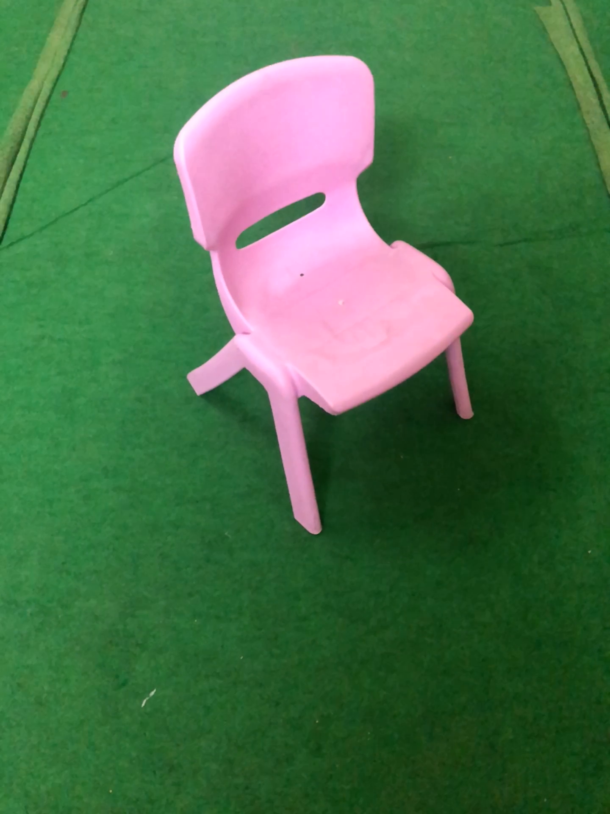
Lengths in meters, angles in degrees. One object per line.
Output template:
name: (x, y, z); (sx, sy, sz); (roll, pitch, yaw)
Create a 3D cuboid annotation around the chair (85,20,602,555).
chair: (0.033, -0.152, 0.910); (0.380, 0.449, 0.411); (-36, 63, -23)
